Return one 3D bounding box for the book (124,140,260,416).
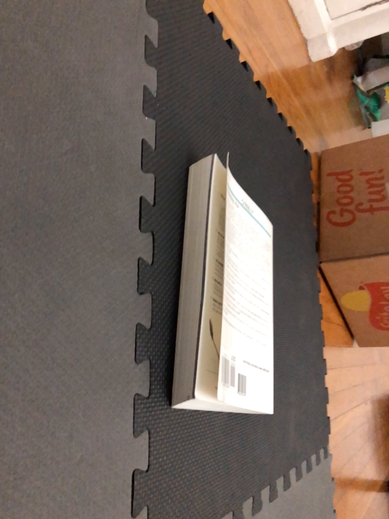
[{"bbox_3d":[0.018,0.037,0.552,0.231,0.040,0.290,37,52,-52],"label":"book"}]
